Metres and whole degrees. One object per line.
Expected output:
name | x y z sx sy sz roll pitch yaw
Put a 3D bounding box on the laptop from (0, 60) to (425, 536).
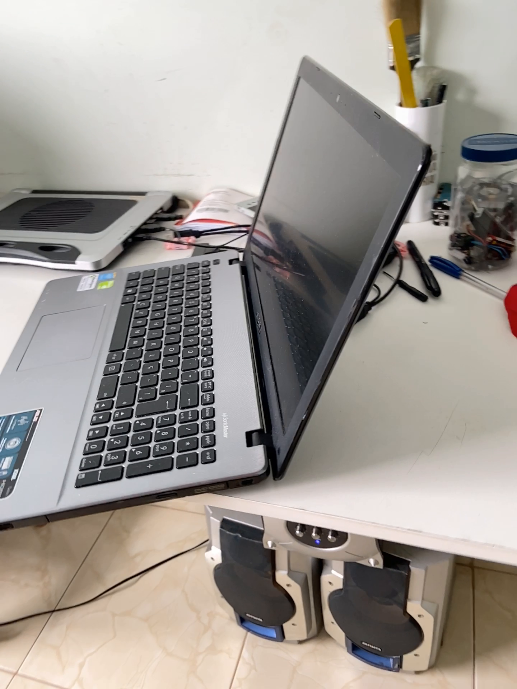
laptop | -0.100 -0.084 0.473 0.355 0.213 0.378 -9 35 0
